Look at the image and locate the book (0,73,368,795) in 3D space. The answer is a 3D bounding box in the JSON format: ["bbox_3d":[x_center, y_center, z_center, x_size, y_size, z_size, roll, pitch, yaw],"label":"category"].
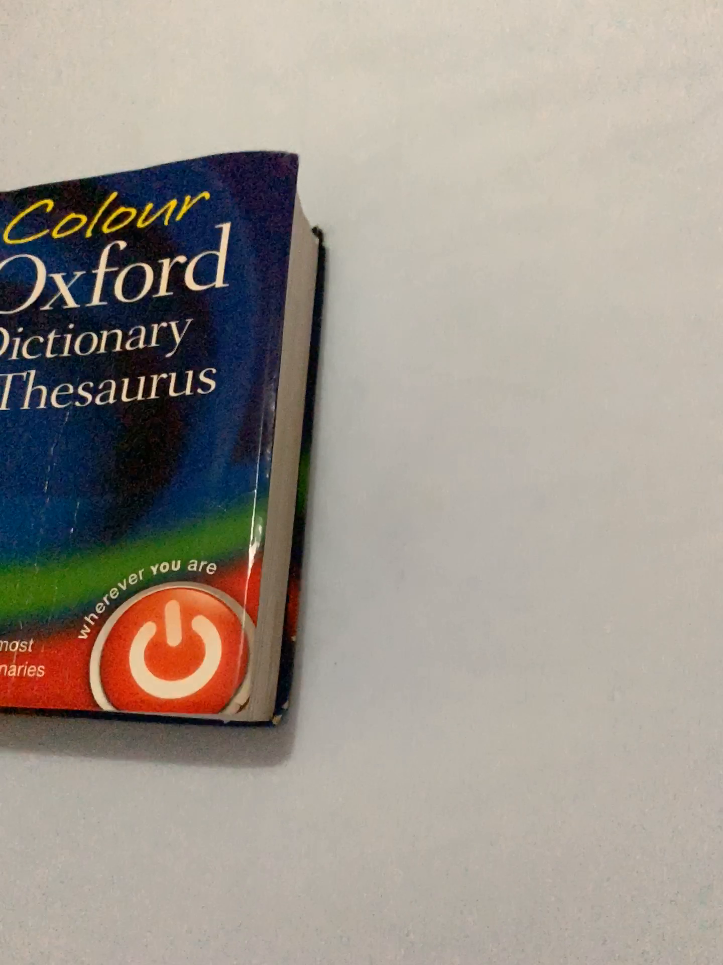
[{"bbox_3d":[-0.065,-0.015,0.212,0.120,0.040,0.181,-4,70,19],"label":"book"}]
